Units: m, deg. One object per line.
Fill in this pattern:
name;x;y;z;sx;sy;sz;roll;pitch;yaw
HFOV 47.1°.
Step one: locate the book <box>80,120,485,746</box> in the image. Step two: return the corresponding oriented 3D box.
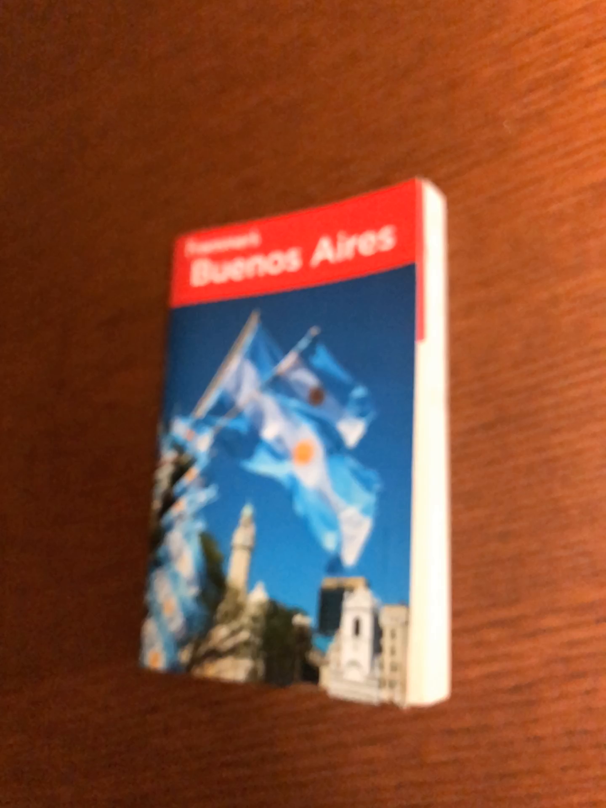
book;-0.014;0.008;0.284;0.160;0.020;0.220;-7;74;27
